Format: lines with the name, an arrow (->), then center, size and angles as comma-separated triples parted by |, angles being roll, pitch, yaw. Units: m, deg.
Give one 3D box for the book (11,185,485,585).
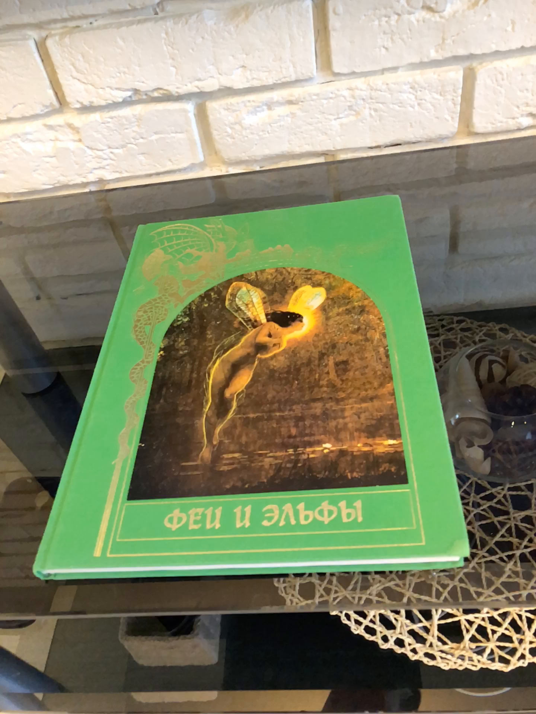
book -> -0.006, -0.007, 0.374 | 0.217, 0.030, 0.292 | -4, 46, 8
